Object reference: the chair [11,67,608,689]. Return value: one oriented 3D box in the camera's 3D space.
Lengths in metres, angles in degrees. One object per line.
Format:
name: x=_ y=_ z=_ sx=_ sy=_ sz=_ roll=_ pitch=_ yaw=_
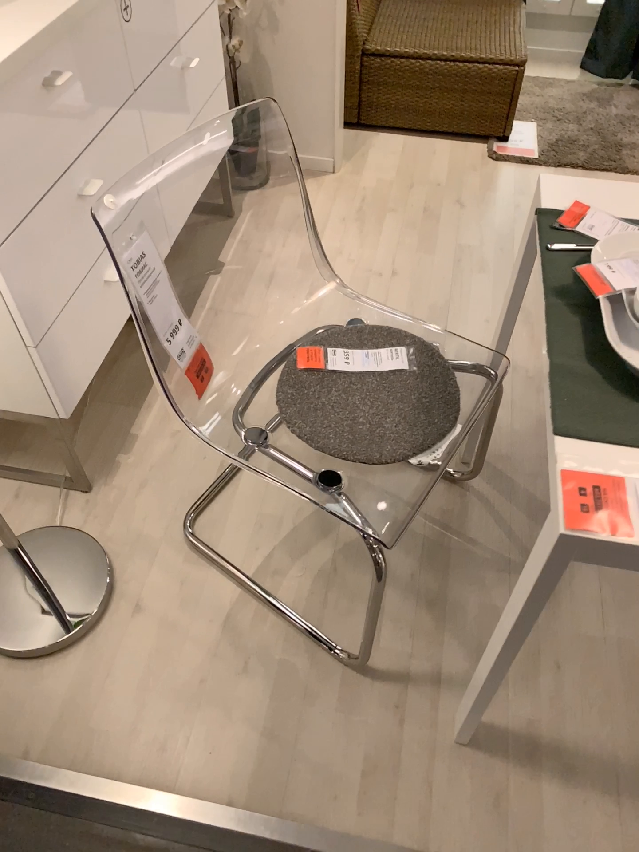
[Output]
chair: x=0.010 y=-0.071 z=1.198 sx=0.592 sy=0.792 sz=0.592 roll=27 pitch=55 yaw=20
